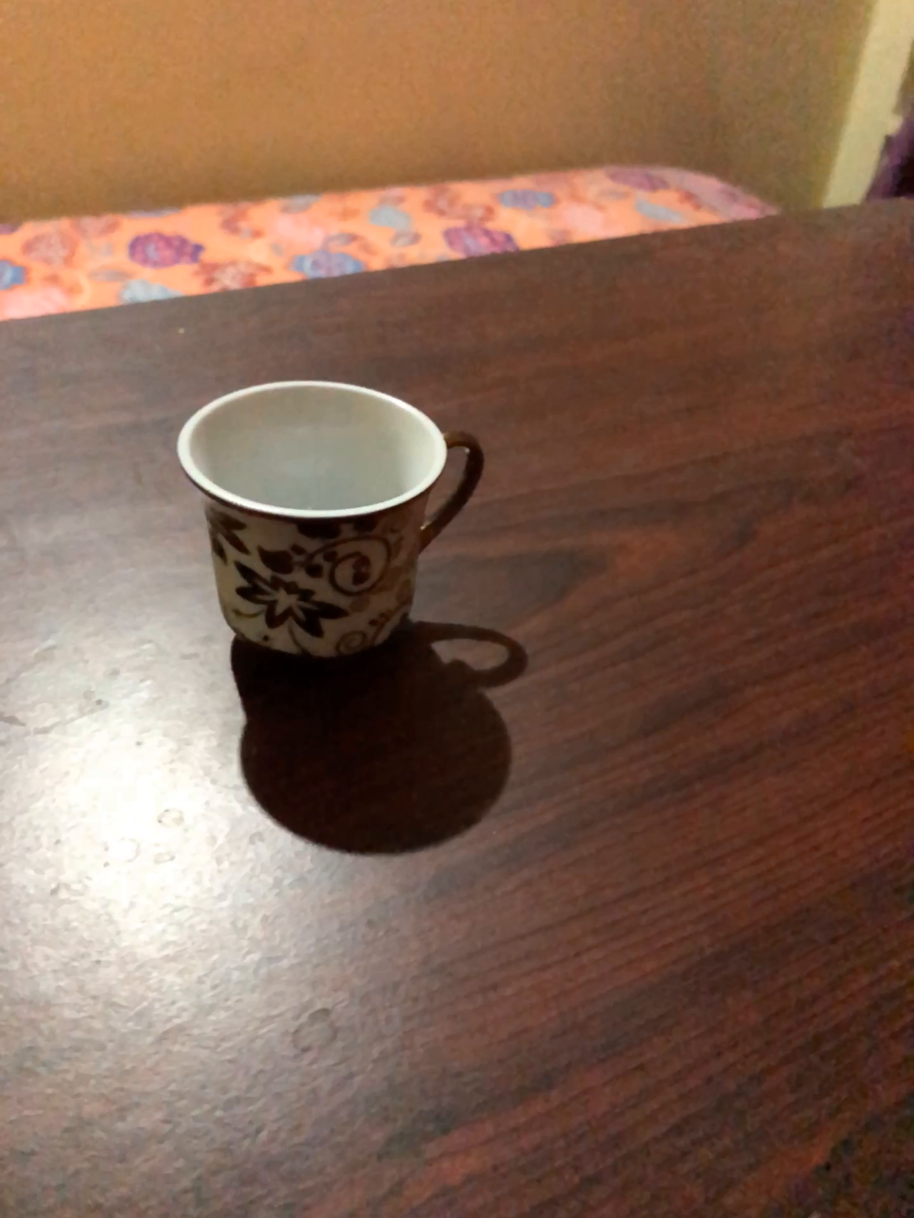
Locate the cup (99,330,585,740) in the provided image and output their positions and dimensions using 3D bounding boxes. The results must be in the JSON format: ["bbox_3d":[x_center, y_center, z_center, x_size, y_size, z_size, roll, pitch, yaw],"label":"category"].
[{"bbox_3d":[-0.028,-0.024,0.256,0.090,0.050,0.070,-22,46,-30],"label":"cup"}]
